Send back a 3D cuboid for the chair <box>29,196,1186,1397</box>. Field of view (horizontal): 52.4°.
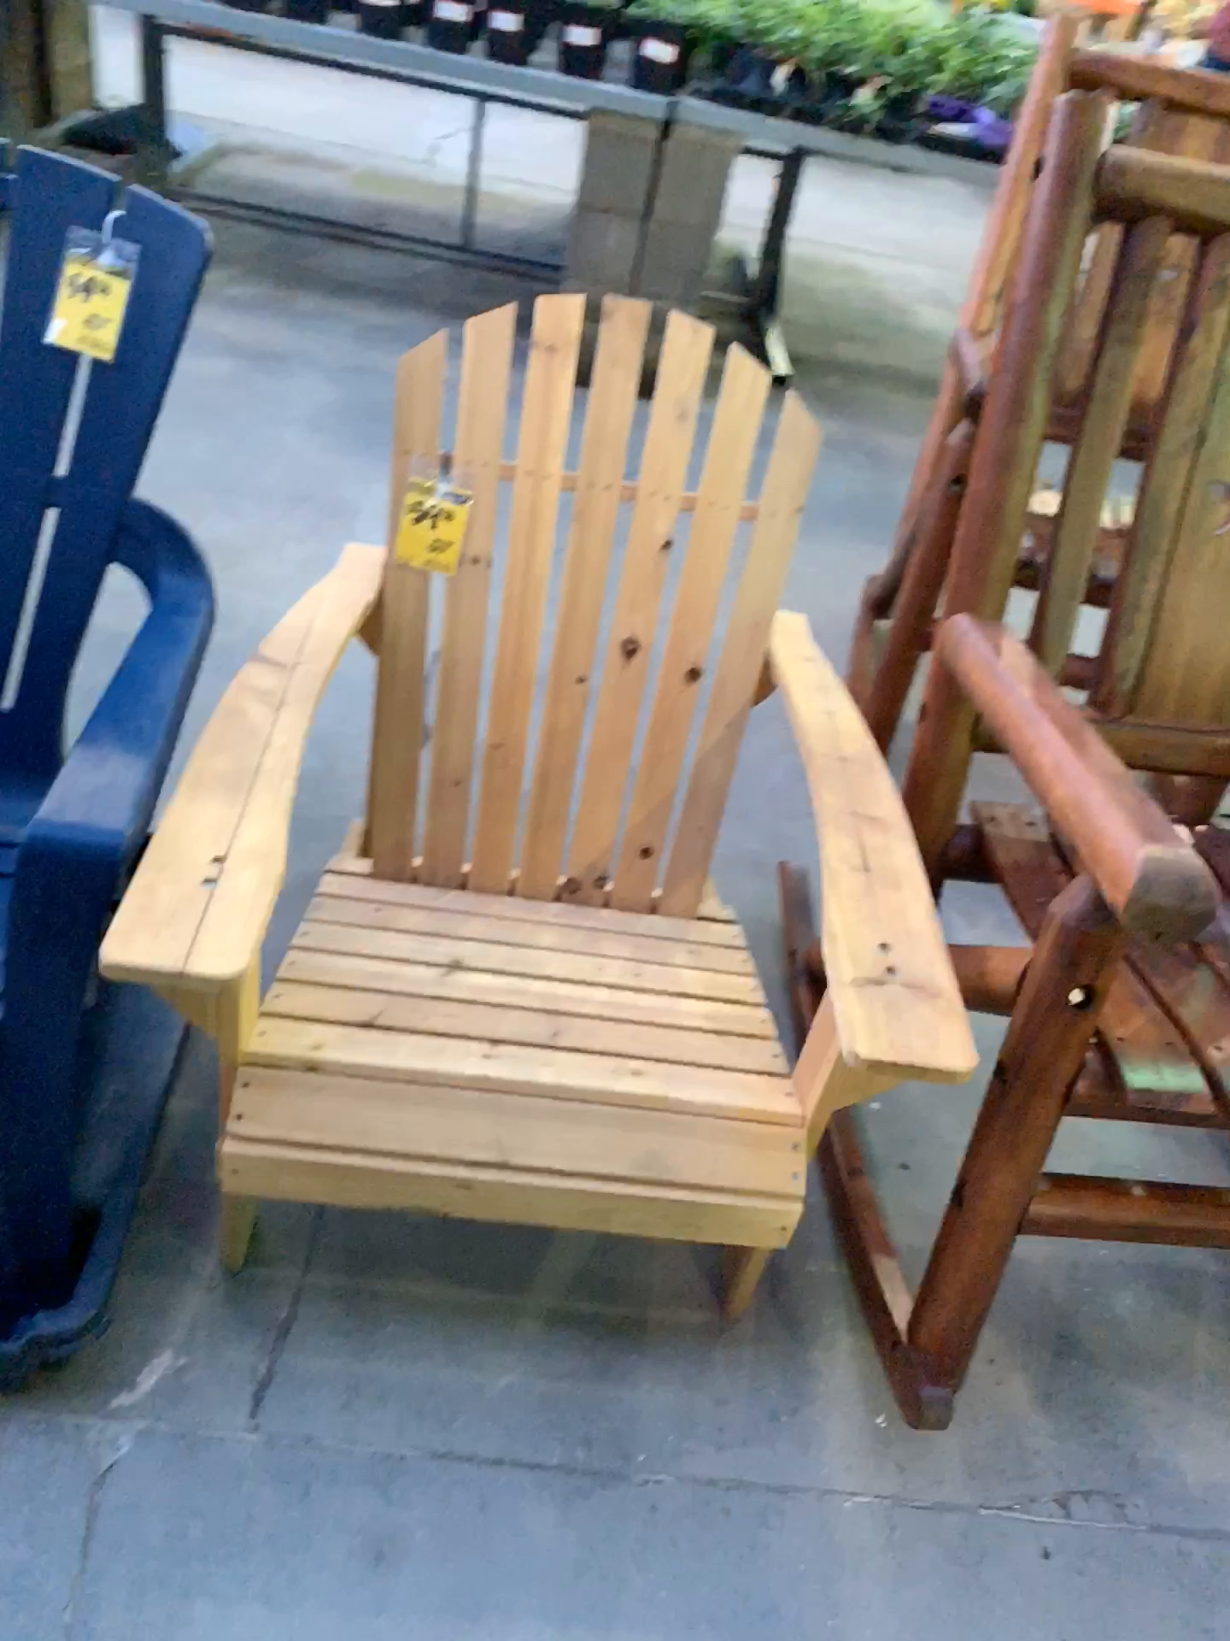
[{"bbox_3d":[-0.062,-0.043,1.396,0.727,0.886,0.896,8,39,-6],"label":"chair"}]
